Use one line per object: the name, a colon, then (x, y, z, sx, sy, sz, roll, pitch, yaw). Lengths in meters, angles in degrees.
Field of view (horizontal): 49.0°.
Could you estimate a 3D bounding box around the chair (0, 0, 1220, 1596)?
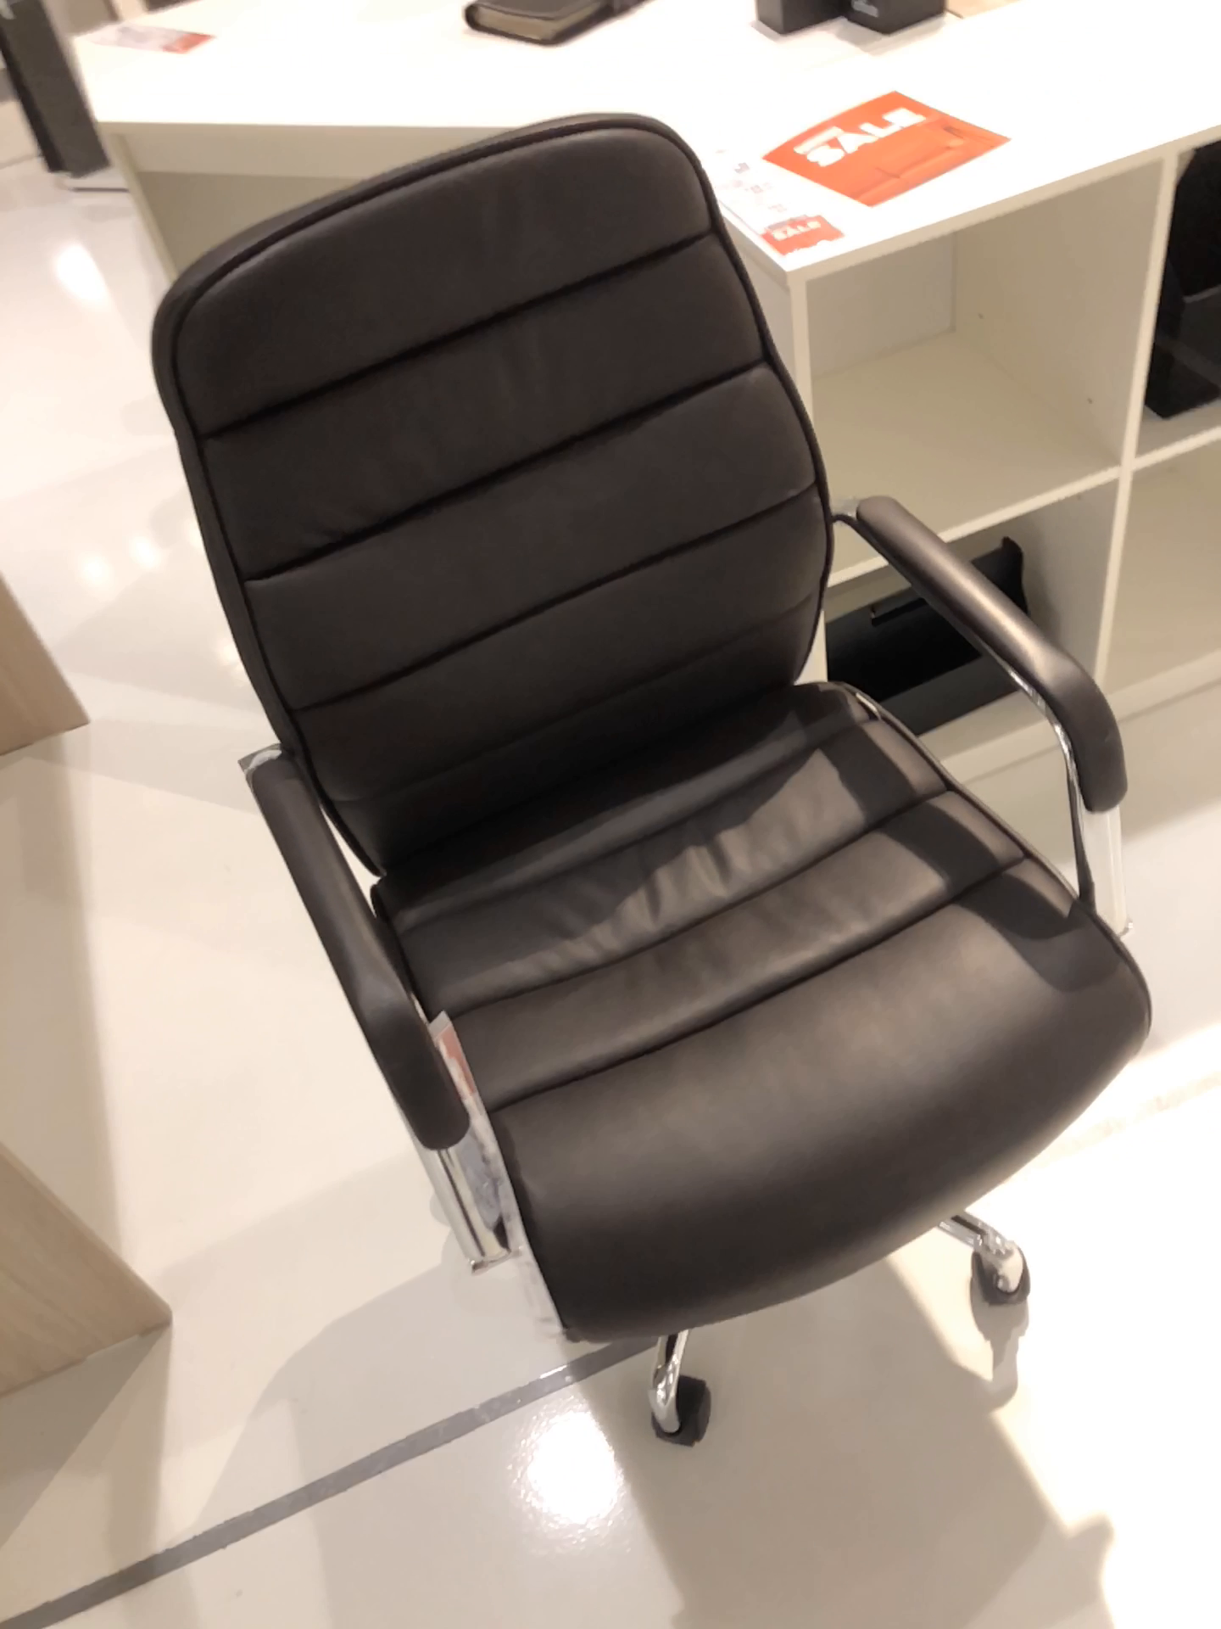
chair: (0.061, 0.024, 1.025, 0.651, 0.973, 0.573, -24, 48, -10)
